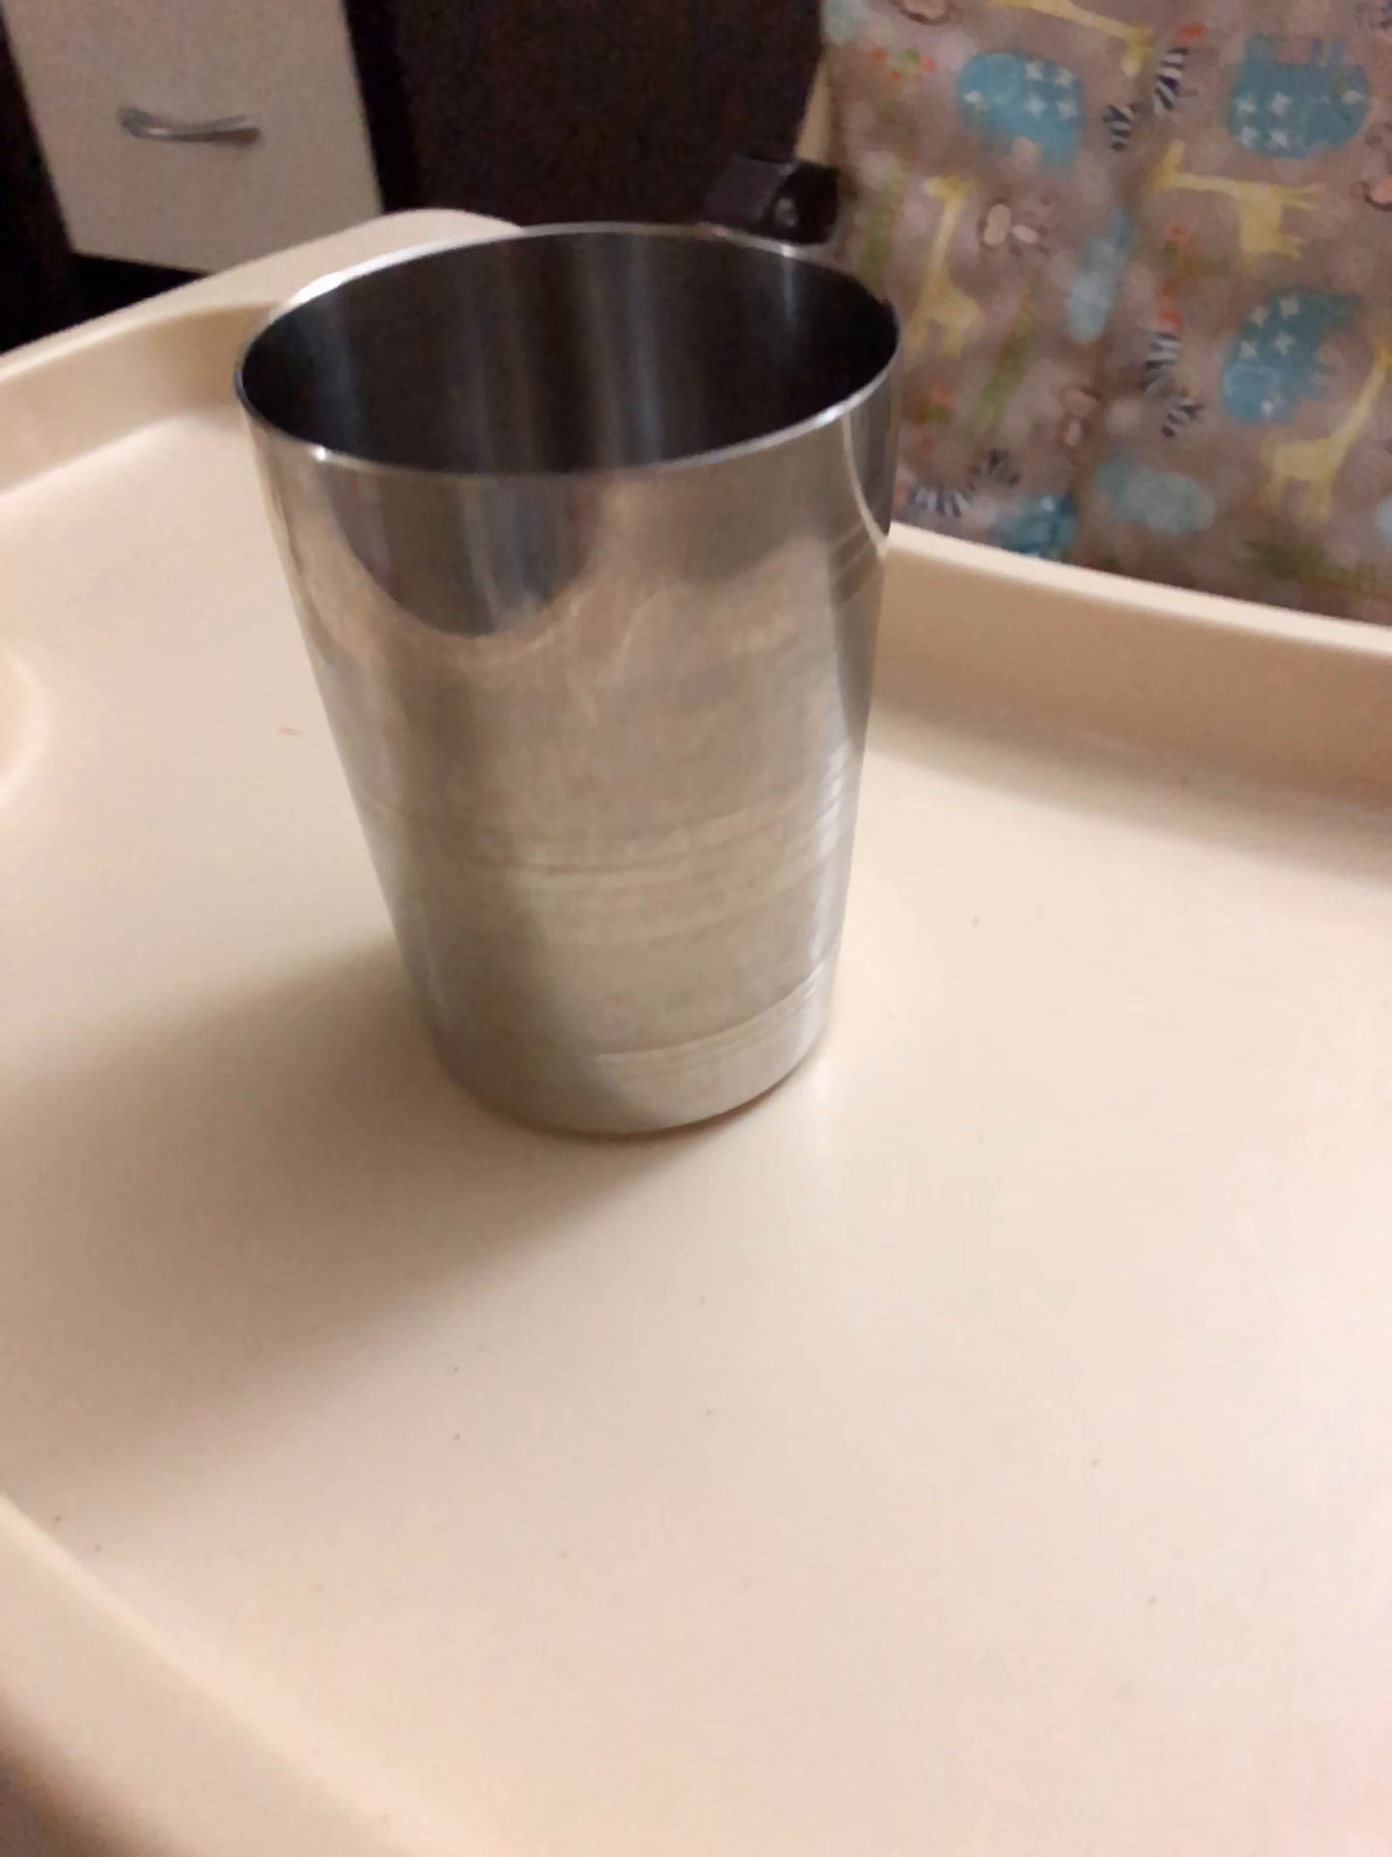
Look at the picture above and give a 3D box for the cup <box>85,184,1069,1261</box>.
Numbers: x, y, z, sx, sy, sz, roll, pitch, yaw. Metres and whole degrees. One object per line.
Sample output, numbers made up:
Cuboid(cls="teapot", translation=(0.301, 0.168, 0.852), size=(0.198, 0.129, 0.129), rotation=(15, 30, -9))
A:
Cuboid(cls="cup", translation=(-0.009, -0.028, 0.193), size=(0.073, 0.090, 0.073), rotation=(-3, 42, 2))
